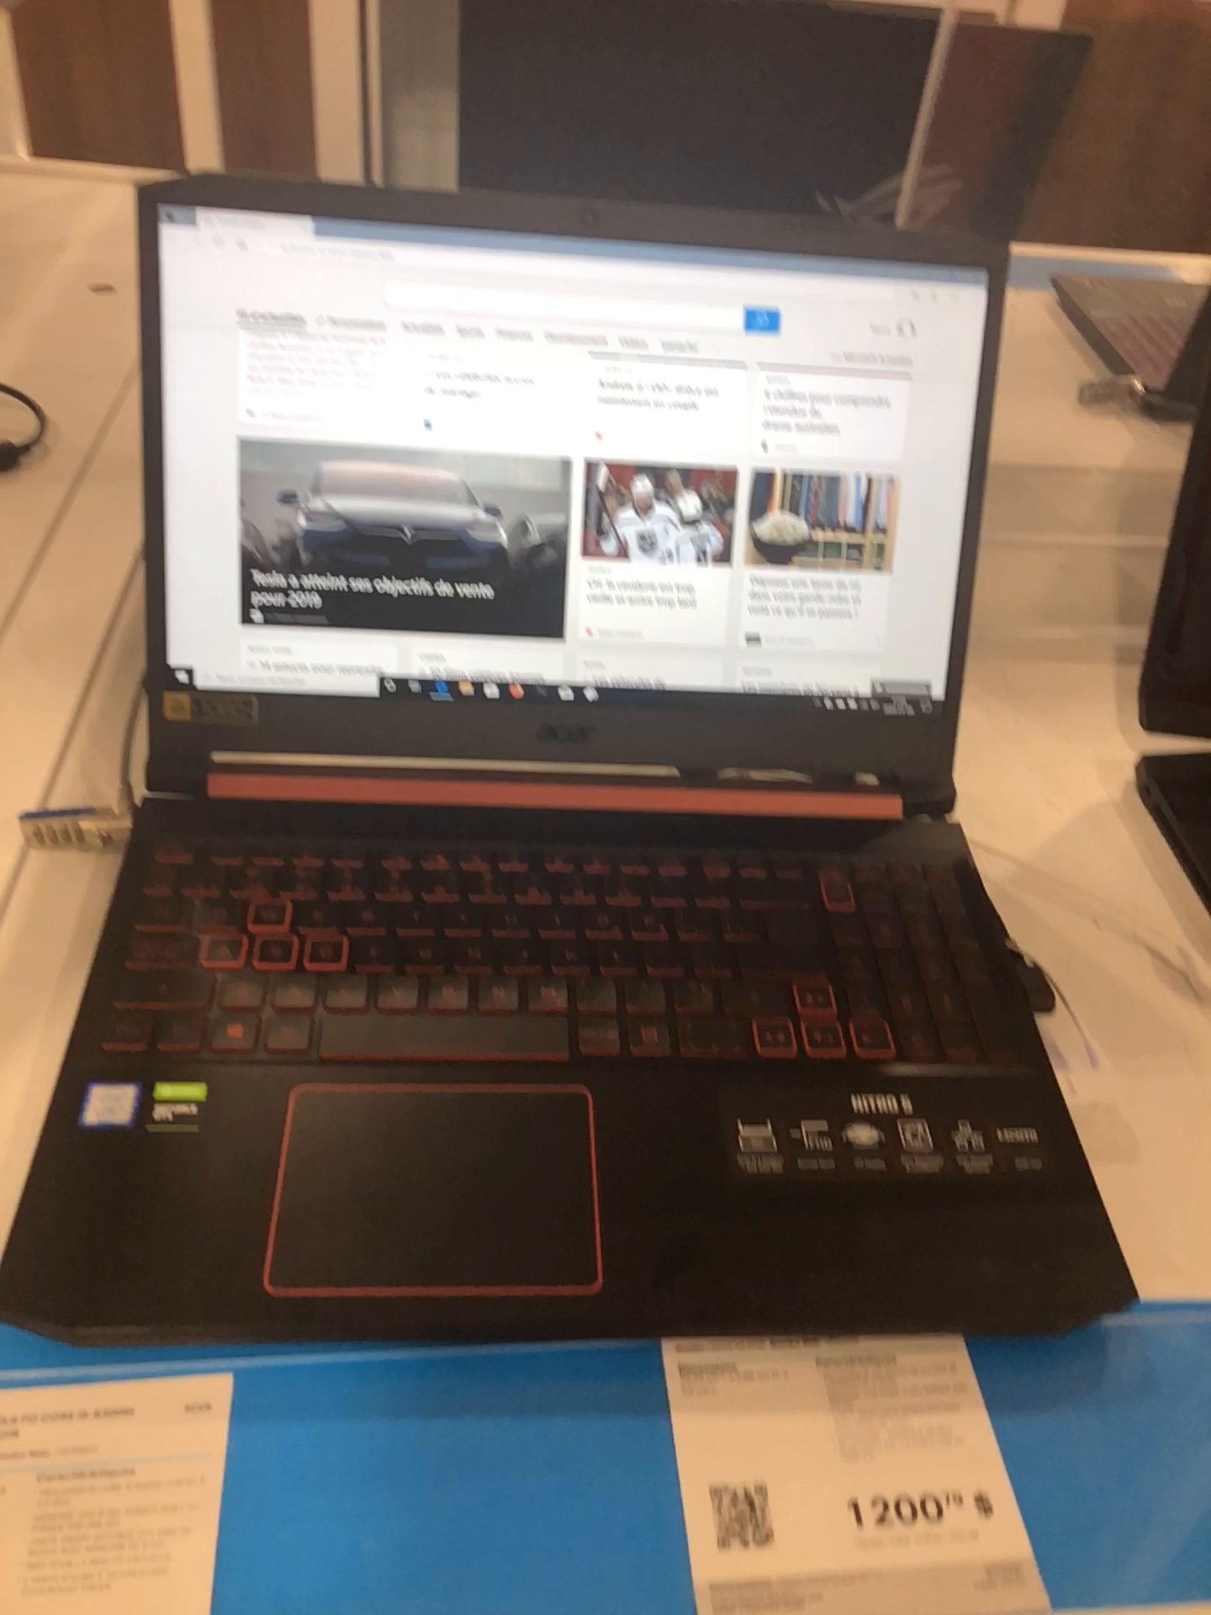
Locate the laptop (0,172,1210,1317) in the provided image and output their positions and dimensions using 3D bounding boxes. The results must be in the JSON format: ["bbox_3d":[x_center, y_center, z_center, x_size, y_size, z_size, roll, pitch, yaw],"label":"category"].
[{"bbox_3d":[-0.005,-0.045,0.478,0.357,0.211,0.360,1,42,-6],"label":"laptop"}]
